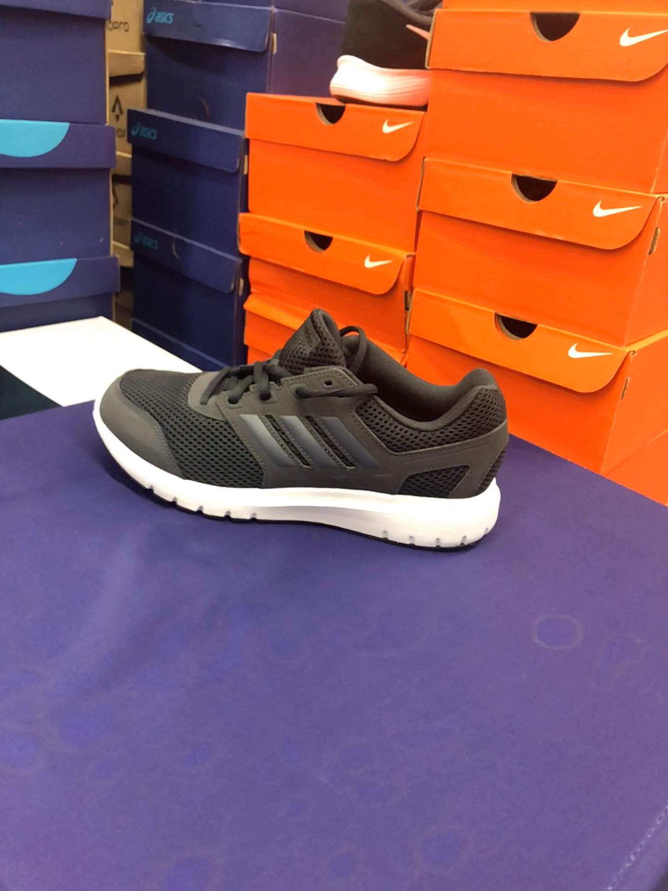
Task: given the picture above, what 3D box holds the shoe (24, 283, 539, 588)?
[{"bbox_3d":[-0.030,-0.014,0.457,0.280,0.107,0.102,11,27,6],"label":"shoe"}]
